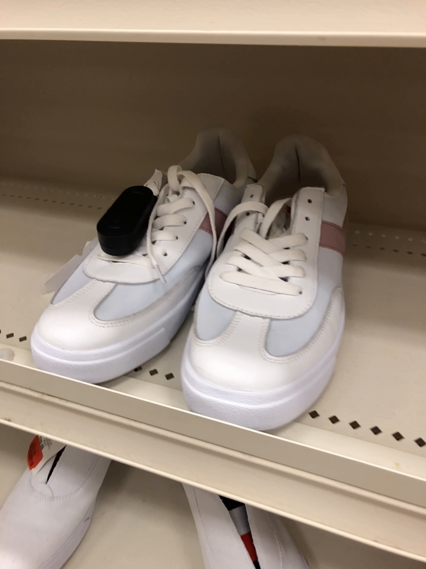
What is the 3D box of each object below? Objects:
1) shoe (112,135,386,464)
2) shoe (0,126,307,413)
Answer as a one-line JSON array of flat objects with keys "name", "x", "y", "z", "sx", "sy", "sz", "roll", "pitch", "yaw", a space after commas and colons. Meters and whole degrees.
[{"name": "shoe", "x": 0.071, "y": -0.046, "z": 0.398, "sx": 0.120, "sy": 0.119, "sz": 0.392, "roll": 10, "pitch": 23, "yaw": 17}, {"name": "shoe", "x": -0.030, "y": -0.064, "z": 0.417, "sx": 0.120, "sy": 0.119, "sz": 0.392, "roll": 12, "pitch": 24, "yaw": 22}]
